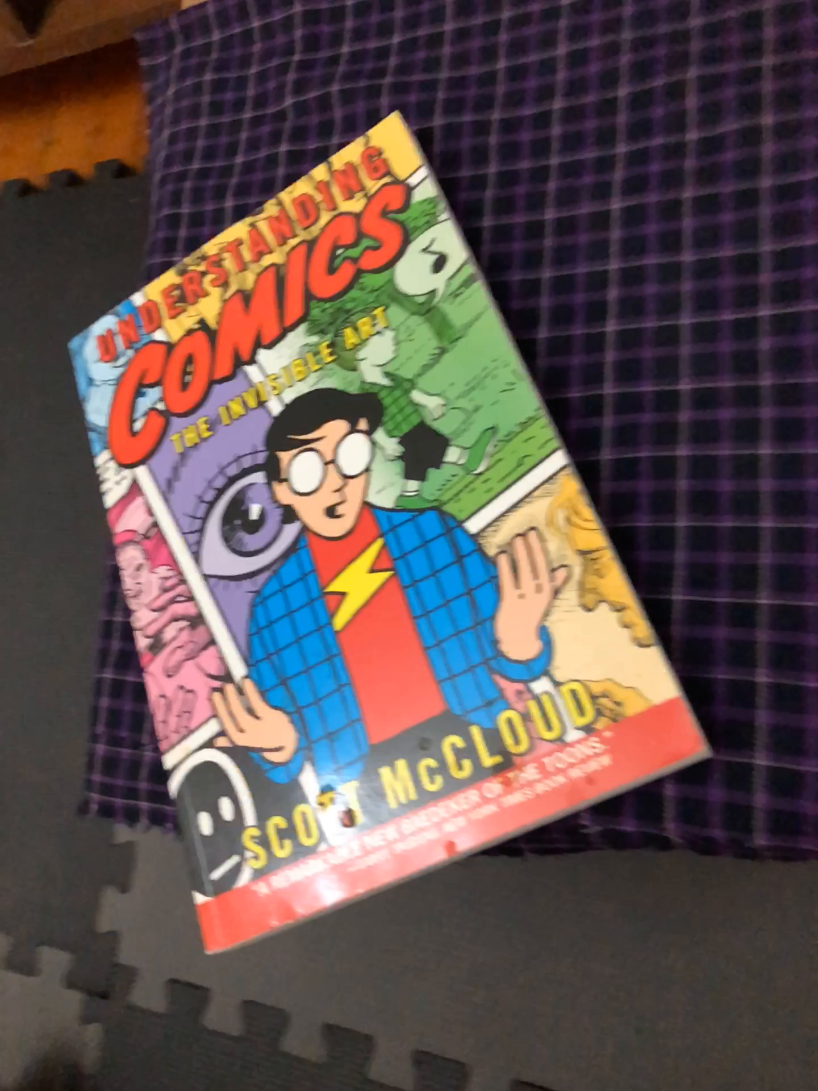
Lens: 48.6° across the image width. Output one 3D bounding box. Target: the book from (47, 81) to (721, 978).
[{"bbox_3d":[-0.035,-0.019,0.319,0.170,0.020,0.271,-28,65,16],"label":"book"}]
